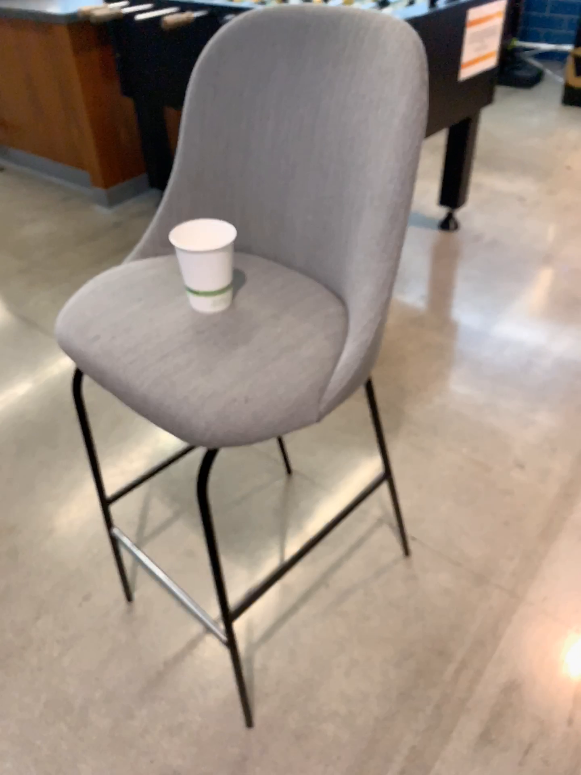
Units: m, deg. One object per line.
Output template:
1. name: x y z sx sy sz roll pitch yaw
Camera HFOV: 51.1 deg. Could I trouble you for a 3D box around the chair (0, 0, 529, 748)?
1. chair: -0.063 0.003 1.036 0.472 1.054 0.571 30 50 33
